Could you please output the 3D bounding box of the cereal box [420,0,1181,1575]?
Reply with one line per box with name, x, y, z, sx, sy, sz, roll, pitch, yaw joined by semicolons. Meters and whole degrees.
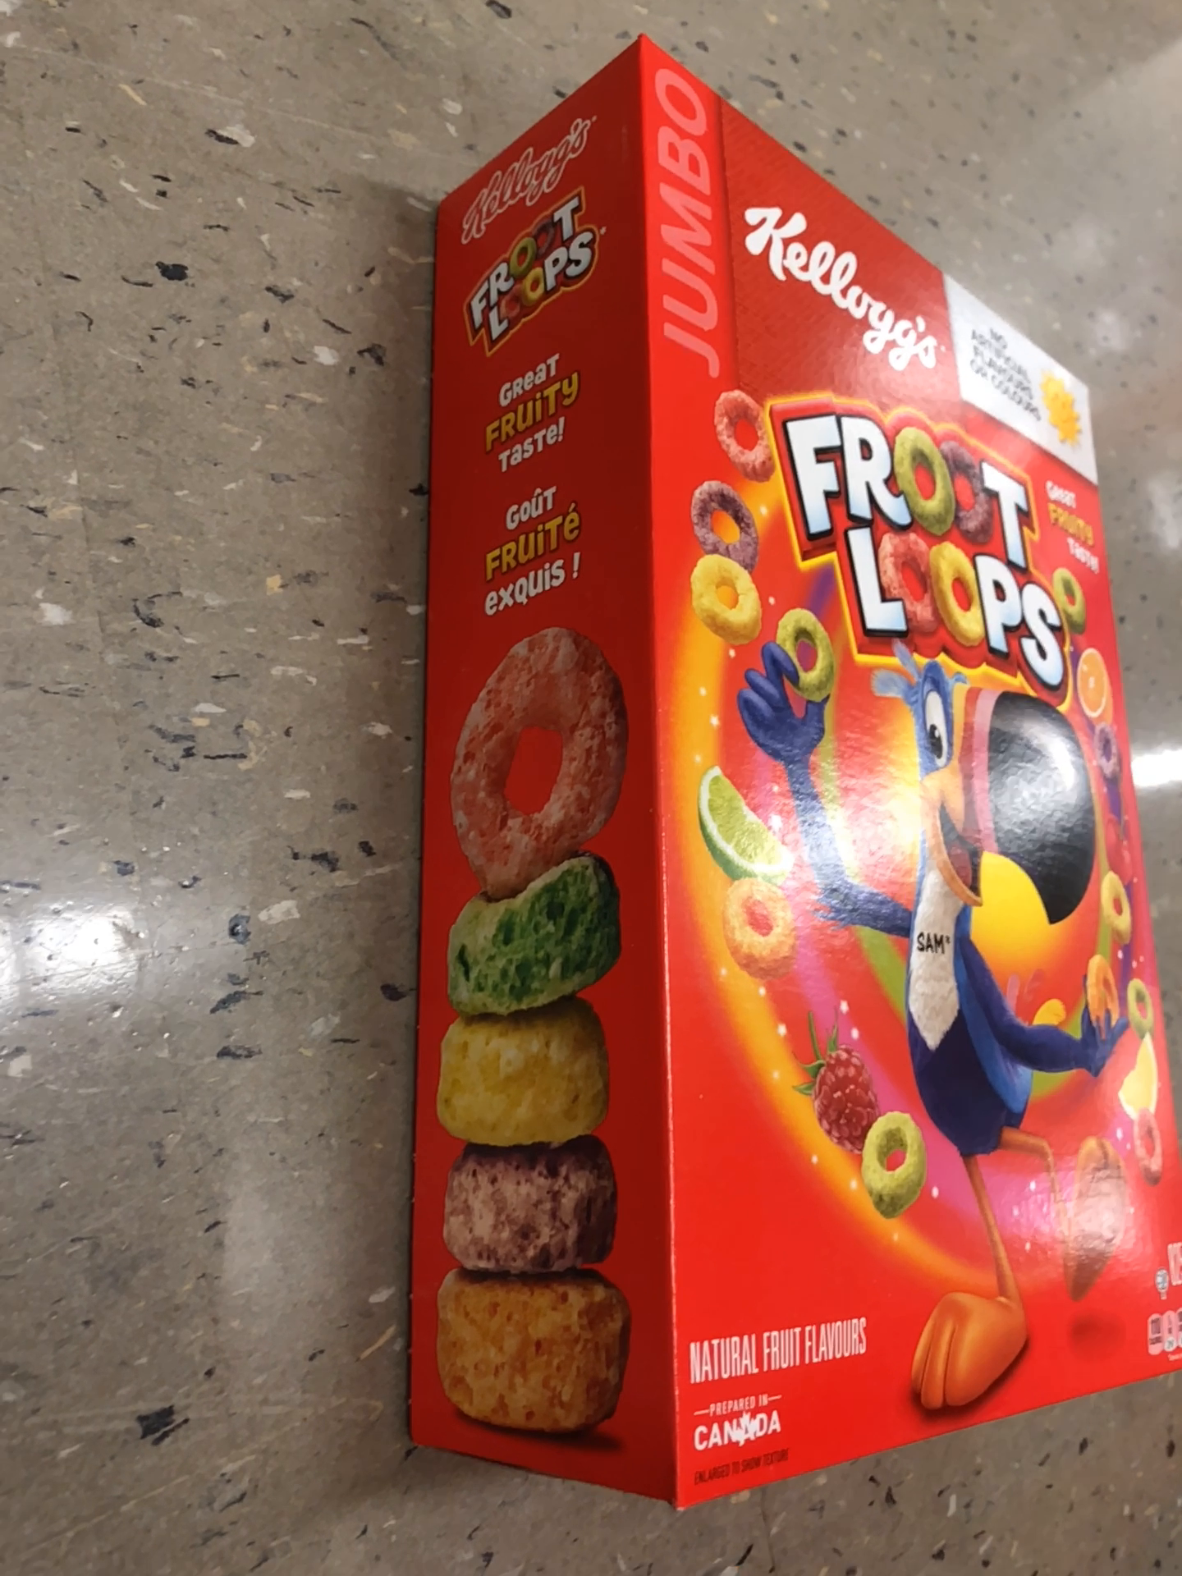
cereal box;0.090;0.000;0.379;0.272;0.080;0.360;15;67;-41
